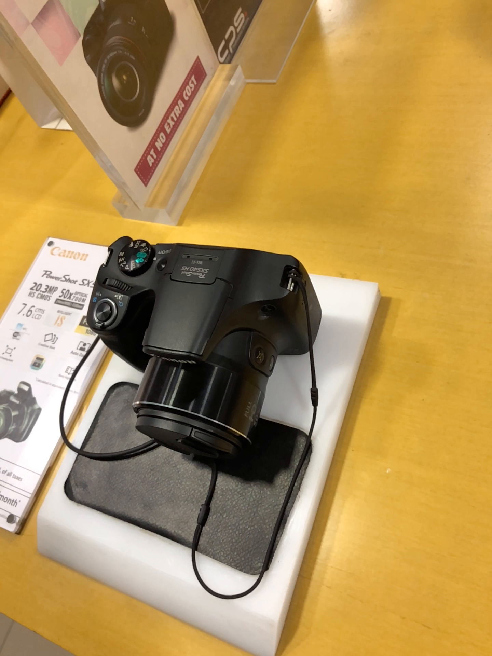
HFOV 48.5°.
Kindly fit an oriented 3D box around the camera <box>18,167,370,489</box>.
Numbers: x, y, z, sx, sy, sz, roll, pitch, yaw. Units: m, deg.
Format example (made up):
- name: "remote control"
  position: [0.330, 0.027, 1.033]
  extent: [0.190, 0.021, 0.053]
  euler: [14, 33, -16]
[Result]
- name: "camera"
  position: [-0.016, -0.004, 0.294]
  extent: [0.130, 0.090, 0.130]
  euler: [8, 66, 23]
